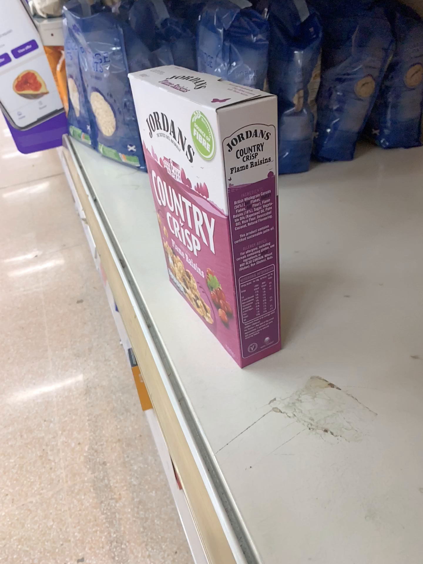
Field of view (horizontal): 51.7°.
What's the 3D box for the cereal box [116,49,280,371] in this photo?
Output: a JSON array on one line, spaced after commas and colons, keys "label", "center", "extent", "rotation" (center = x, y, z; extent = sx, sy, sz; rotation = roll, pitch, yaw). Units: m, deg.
[{"label": "cereal box", "center": [-0.011, -0.071, 0.418], "extent": [0.050, 0.248, 0.192], "rotation": [-21, 38, -19]}]
